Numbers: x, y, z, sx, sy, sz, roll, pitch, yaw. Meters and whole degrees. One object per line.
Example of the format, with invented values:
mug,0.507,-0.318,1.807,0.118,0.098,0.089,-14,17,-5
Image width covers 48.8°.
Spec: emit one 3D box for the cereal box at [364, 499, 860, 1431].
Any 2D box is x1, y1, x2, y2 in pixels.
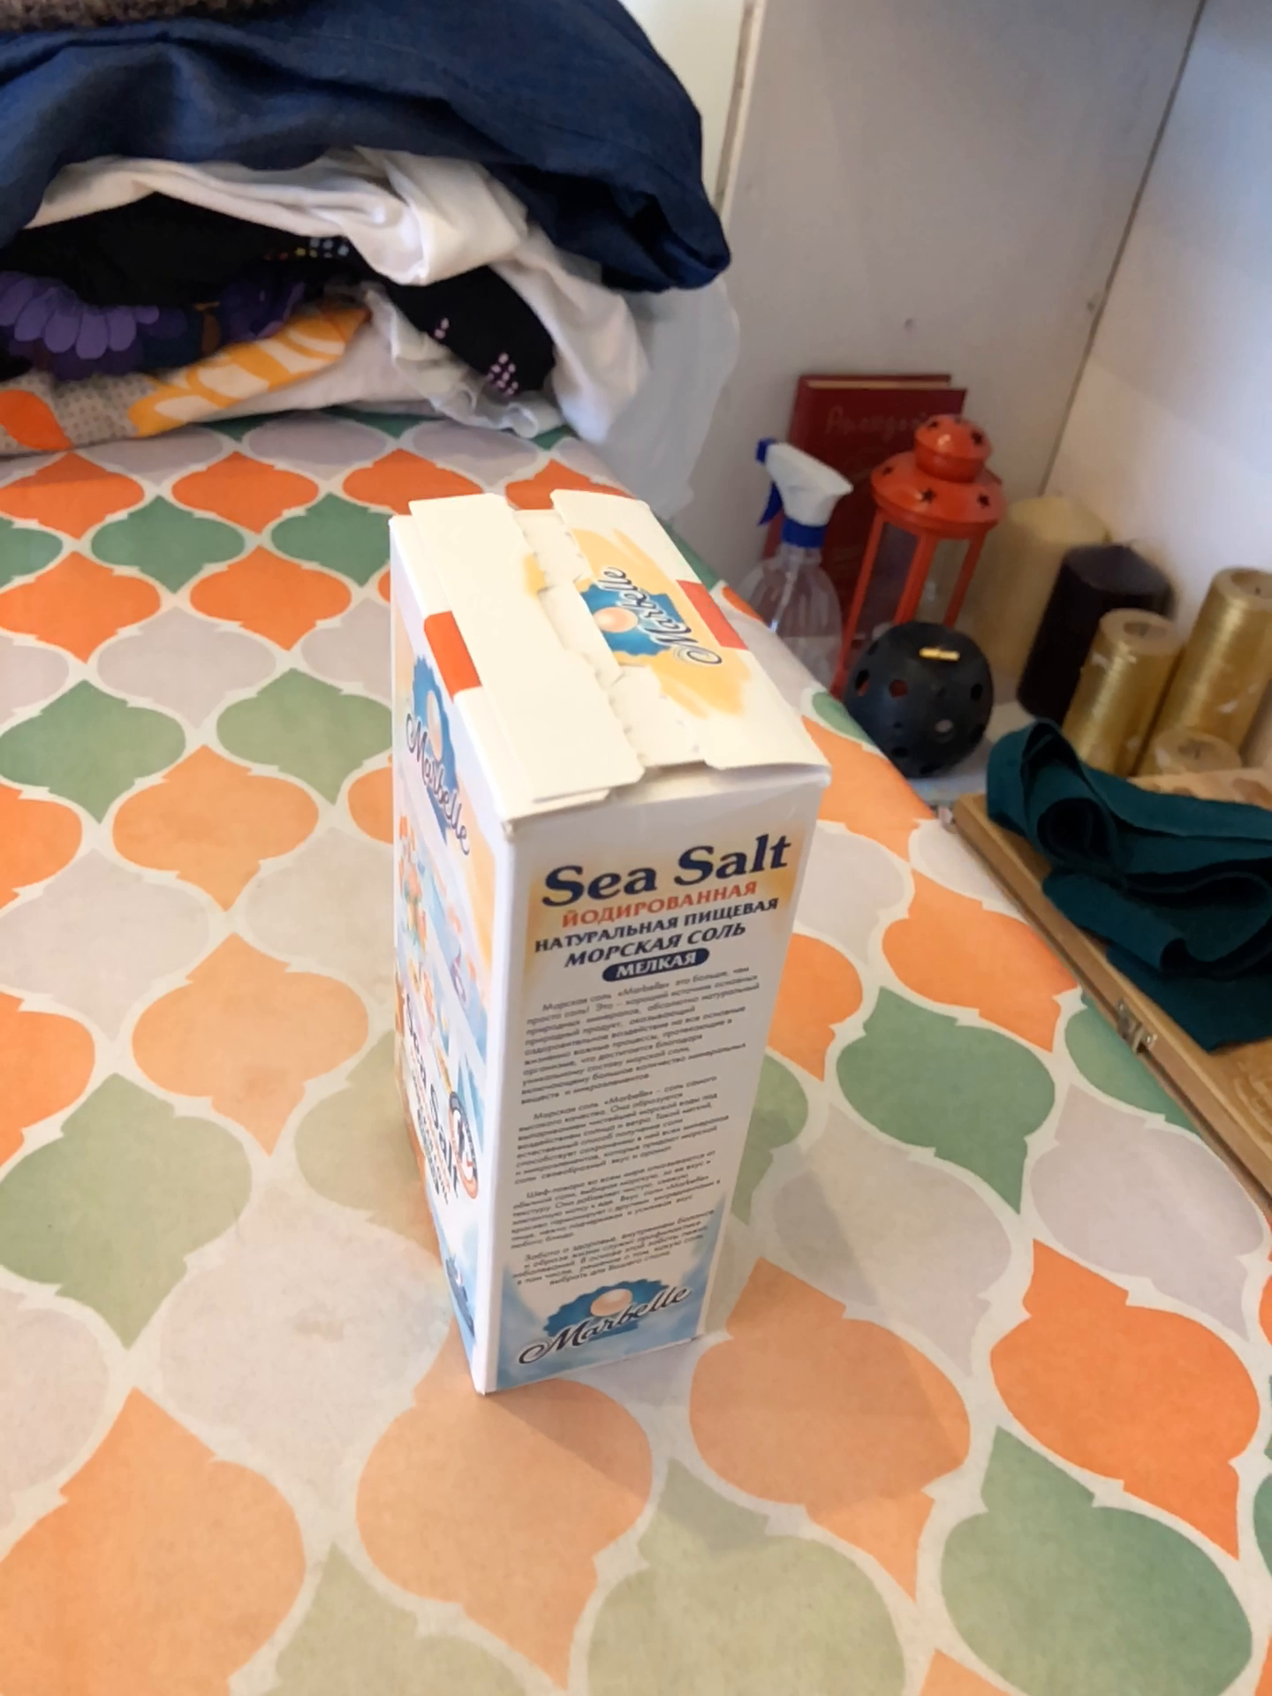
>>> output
cereal box,-0.017,0.028,0.300,0.060,0.169,0.101,-8,42,-17
